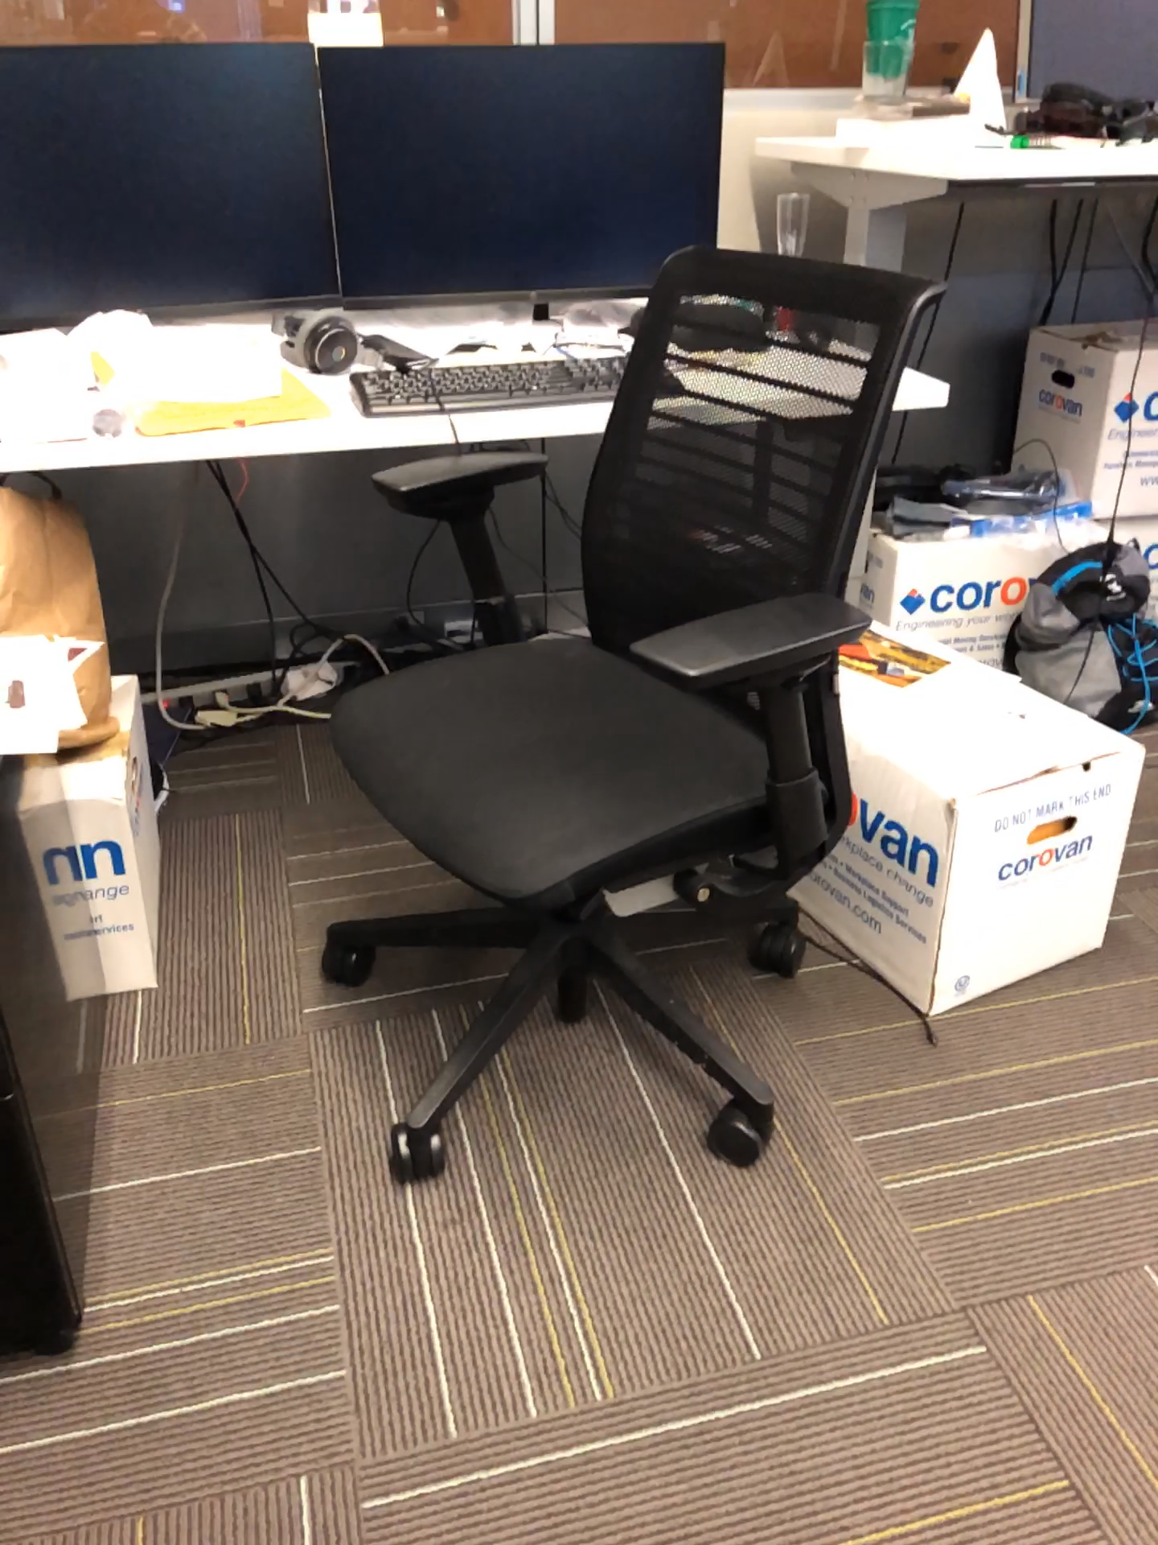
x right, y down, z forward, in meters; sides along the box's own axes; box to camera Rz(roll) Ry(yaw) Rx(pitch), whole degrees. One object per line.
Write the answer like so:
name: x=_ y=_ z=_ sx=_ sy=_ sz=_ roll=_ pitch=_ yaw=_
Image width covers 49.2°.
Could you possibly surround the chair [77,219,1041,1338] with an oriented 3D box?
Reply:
chair: x=-0.064 y=-0.092 z=1.557 sx=0.701 sy=0.995 sz=0.783 roll=-17 pitch=33 yaw=-29
